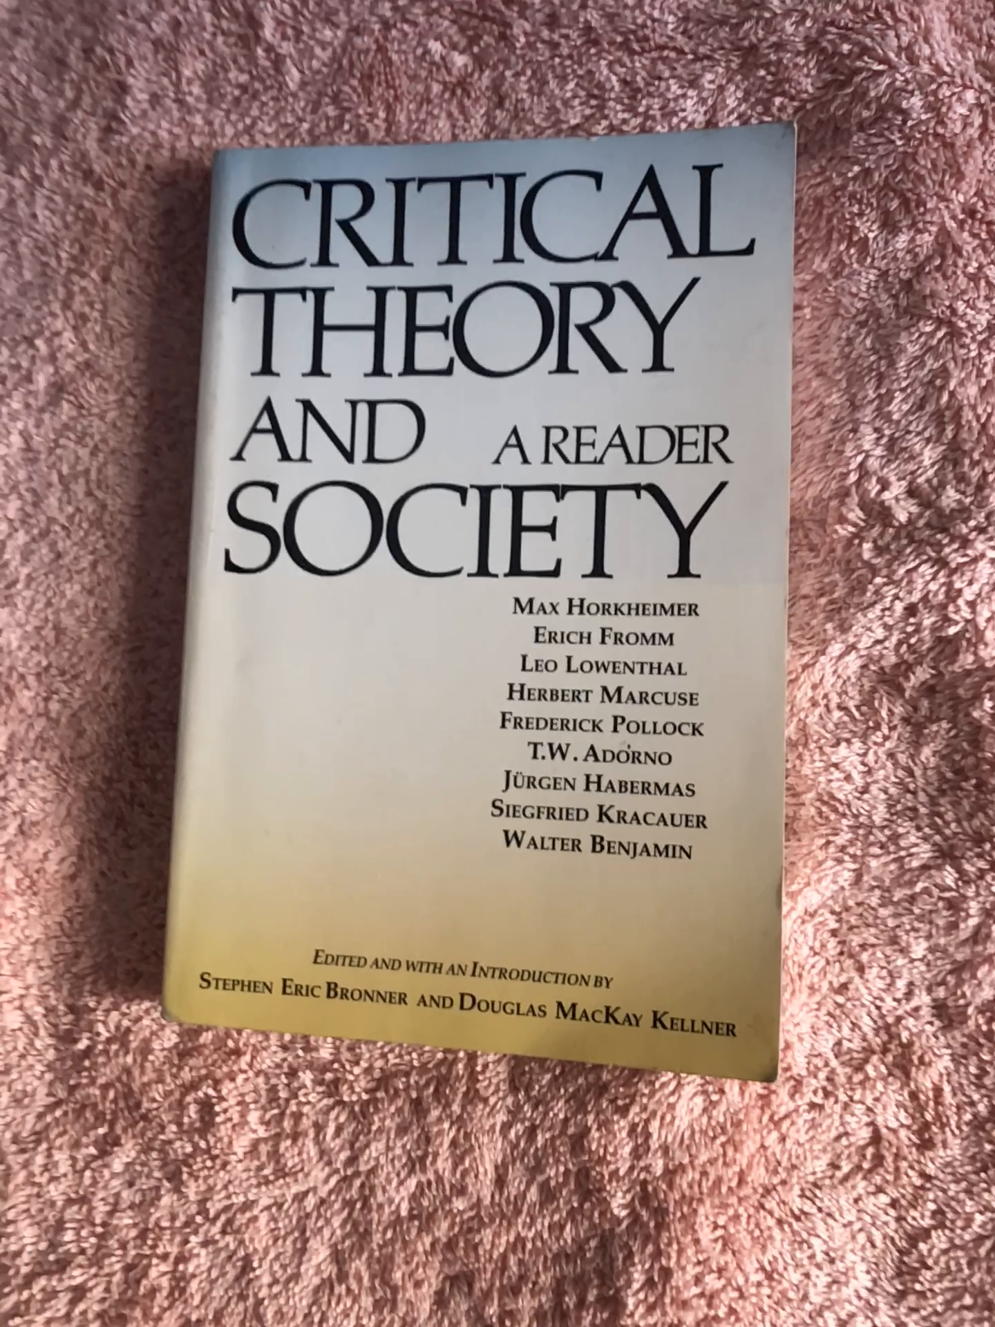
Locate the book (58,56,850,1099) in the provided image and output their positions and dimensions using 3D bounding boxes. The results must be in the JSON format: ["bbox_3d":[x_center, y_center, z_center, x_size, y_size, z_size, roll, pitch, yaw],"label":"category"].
[{"bbox_3d":[-0.006,-0.025,0.276,0.170,0.050,0.230,2,84,7],"label":"book"}]
